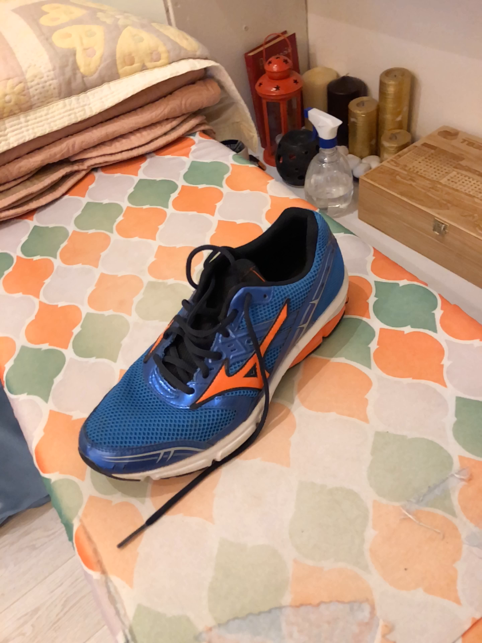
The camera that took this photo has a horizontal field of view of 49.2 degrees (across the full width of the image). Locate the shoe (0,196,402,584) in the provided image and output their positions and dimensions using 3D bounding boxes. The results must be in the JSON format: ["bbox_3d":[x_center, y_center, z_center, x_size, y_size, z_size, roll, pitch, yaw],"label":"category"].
[{"bbox_3d":[-0.014,0.038,0.442,0.311,0.109,0.120,-39,53,-23],"label":"shoe"}]
